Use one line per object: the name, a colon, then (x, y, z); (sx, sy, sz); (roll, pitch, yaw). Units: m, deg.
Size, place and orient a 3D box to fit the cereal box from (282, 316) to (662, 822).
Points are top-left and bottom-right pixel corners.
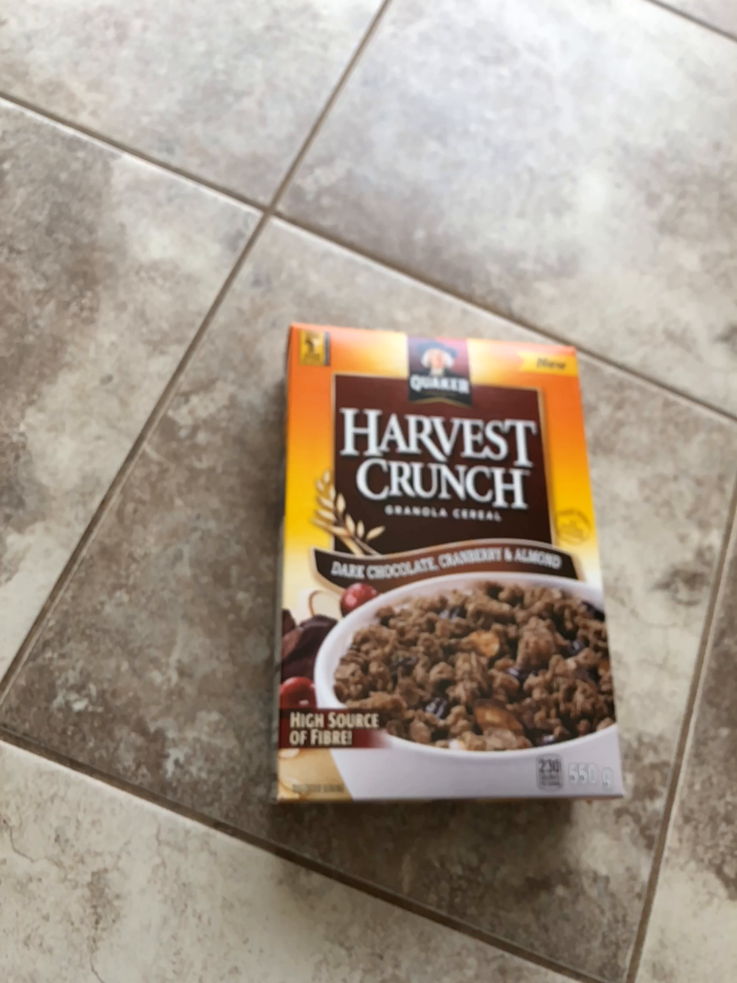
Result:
cereal box: (0.048, 0.041, 0.447); (0.170, 0.070, 0.250); (4, 69, -9)
